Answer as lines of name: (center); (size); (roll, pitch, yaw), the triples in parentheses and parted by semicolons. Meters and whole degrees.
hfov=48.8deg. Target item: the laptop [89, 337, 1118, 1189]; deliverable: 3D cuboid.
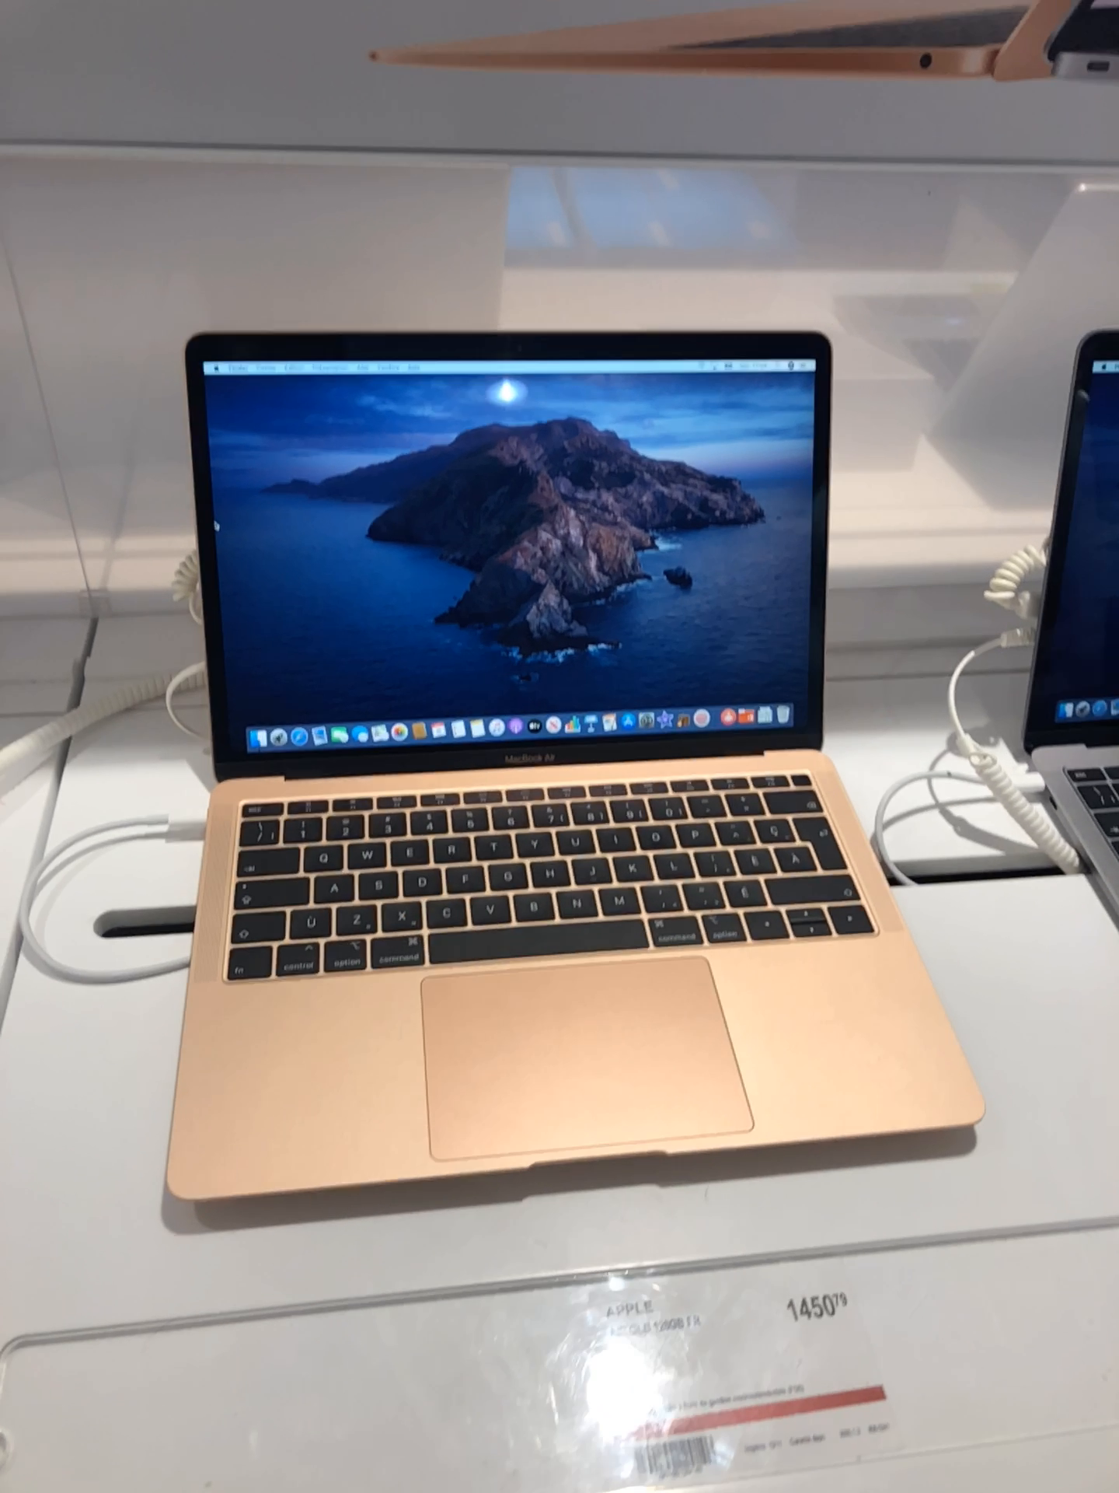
laptop: (-0.002, -0.019, 0.503); (0.291, 0.170, 0.304); (-3, 43, -8)
